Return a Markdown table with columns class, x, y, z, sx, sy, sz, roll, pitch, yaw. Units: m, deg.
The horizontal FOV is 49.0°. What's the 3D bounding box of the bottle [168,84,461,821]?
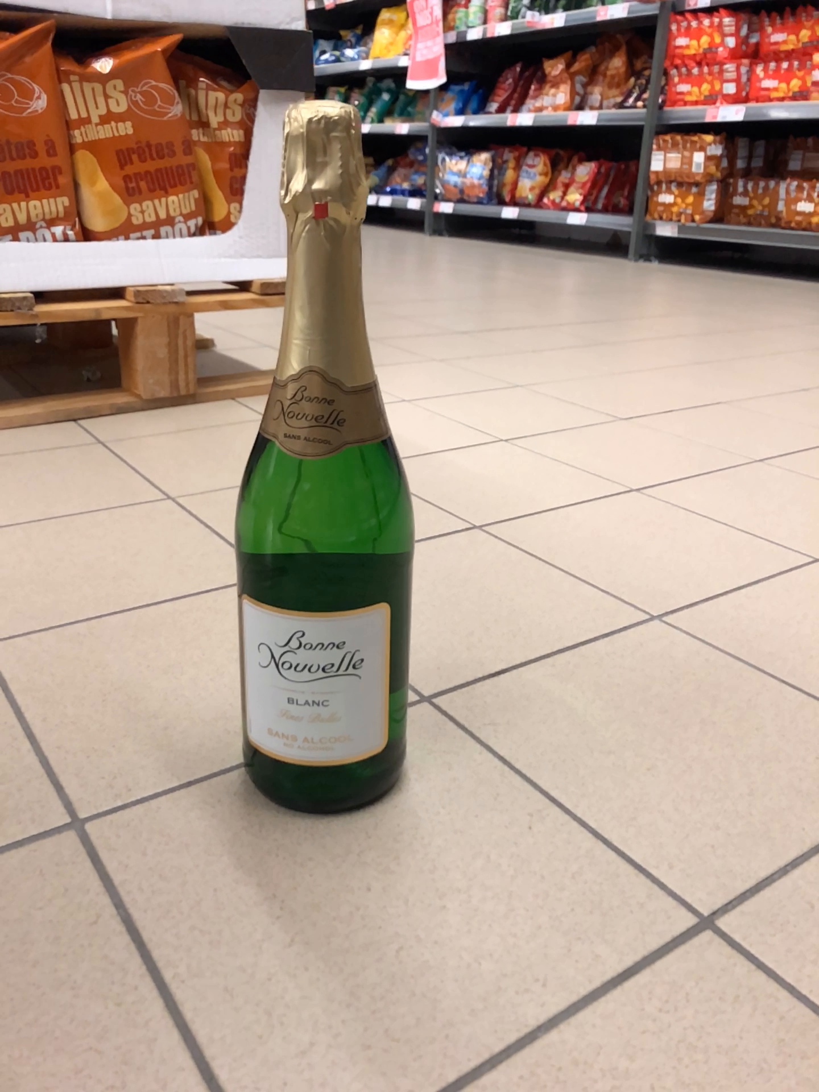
| class | x | y | z | sx | sy | sz | roll | pitch | yaw |
| --- | --- | --- | --- | --- | --- | --- | --- | --- | --- |
| bottle | -0.035 | -0.033 | 0.401 | 0.100 | 0.299 | 0.090 | 3 | 21 | 2 |
